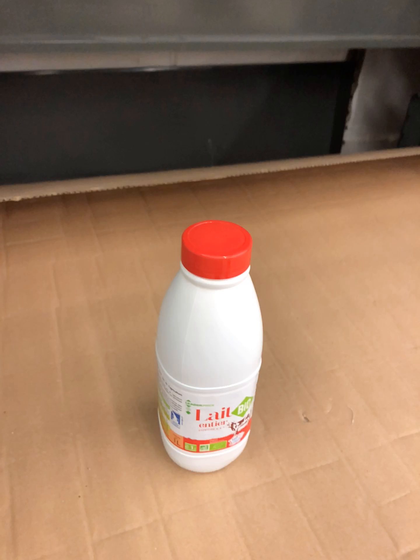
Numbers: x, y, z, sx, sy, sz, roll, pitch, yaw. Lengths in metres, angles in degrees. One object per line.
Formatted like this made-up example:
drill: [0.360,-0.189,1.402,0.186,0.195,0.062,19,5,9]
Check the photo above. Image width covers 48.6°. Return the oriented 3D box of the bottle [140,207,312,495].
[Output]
bottle: [0.000,0.066,0.379,0.090,0.228,0.080,-11,41,-19]
